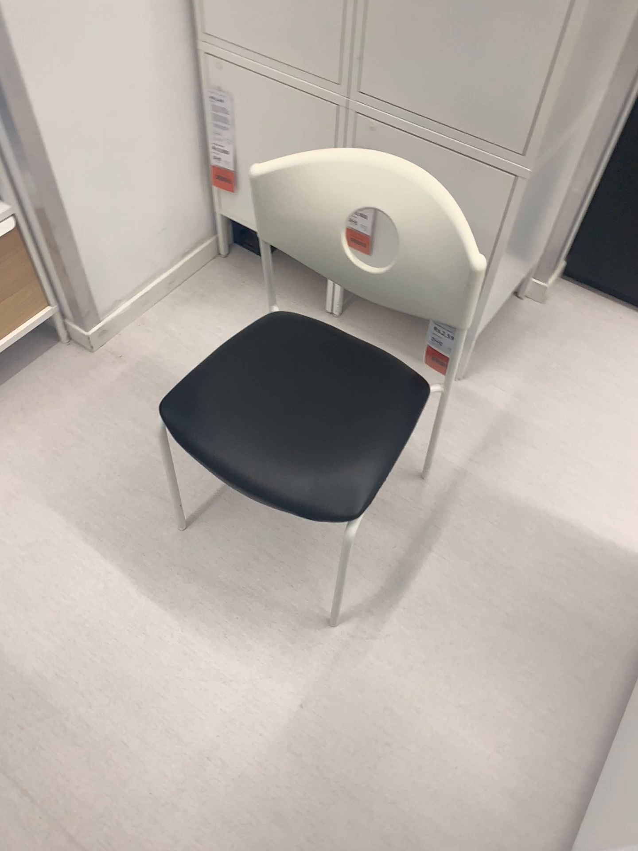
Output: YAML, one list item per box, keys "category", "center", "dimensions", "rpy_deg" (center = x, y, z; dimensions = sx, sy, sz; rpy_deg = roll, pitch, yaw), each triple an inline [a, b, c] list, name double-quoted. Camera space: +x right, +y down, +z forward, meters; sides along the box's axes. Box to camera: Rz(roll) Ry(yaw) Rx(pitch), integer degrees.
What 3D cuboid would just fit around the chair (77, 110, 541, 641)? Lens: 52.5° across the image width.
- category: "chair"
  center: [-0.007, -0.053, 1.253]
  dimensions: [0.480, 0.768, 0.511]
  rpy_deg: [27, 57, 16]
